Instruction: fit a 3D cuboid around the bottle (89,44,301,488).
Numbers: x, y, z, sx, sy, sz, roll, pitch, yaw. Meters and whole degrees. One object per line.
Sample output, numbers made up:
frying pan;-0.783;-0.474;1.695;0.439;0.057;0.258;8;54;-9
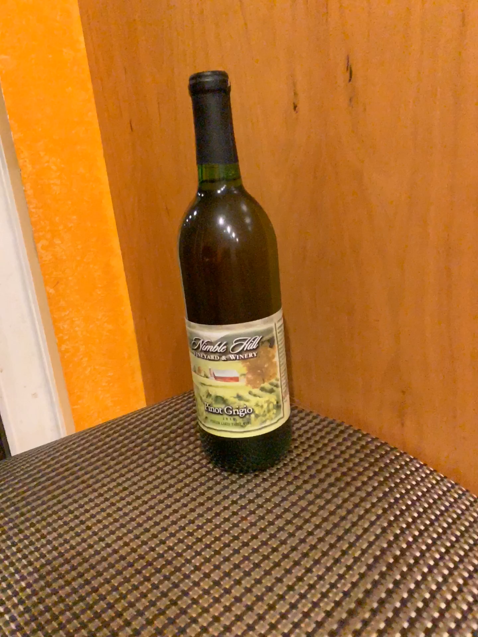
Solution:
bottle;-0.020;-0.029;0.349;0.090;0.269;0.080;4;19;29
